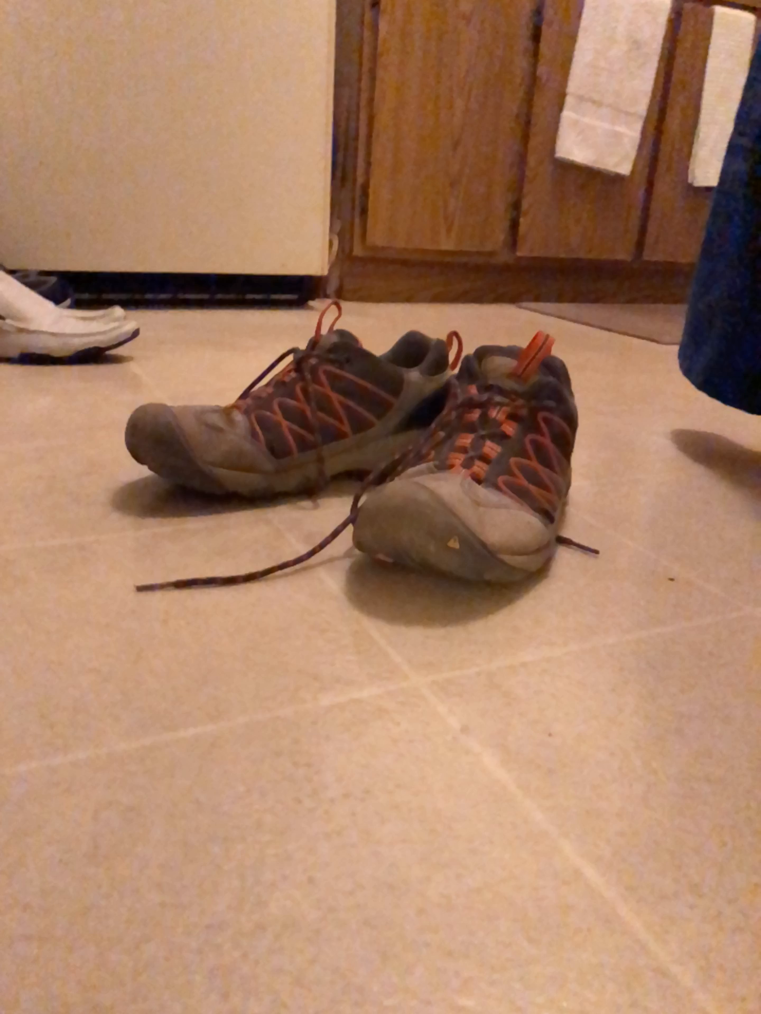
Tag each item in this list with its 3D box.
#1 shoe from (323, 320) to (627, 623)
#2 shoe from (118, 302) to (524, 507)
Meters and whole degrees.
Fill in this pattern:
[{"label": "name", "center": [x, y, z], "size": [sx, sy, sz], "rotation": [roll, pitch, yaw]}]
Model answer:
[{"label": "shoe", "center": [0.081, -0.048, 0.584], "size": [0.127, 0.121, 0.283], "rotation": [11, 21, 20]}, {"label": "shoe", "center": [-0.046, -0.095, 0.678], "size": [0.293, 0.121, 0.127], "rotation": [-8, 23, -27]}]
